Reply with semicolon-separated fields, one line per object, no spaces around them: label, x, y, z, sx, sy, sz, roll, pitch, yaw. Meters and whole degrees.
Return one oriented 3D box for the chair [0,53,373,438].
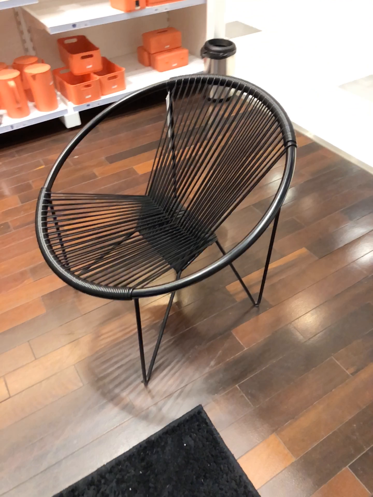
chair;-0.043;-0.076;1.243;0.732;0.675;0.704;-26;48;-24
